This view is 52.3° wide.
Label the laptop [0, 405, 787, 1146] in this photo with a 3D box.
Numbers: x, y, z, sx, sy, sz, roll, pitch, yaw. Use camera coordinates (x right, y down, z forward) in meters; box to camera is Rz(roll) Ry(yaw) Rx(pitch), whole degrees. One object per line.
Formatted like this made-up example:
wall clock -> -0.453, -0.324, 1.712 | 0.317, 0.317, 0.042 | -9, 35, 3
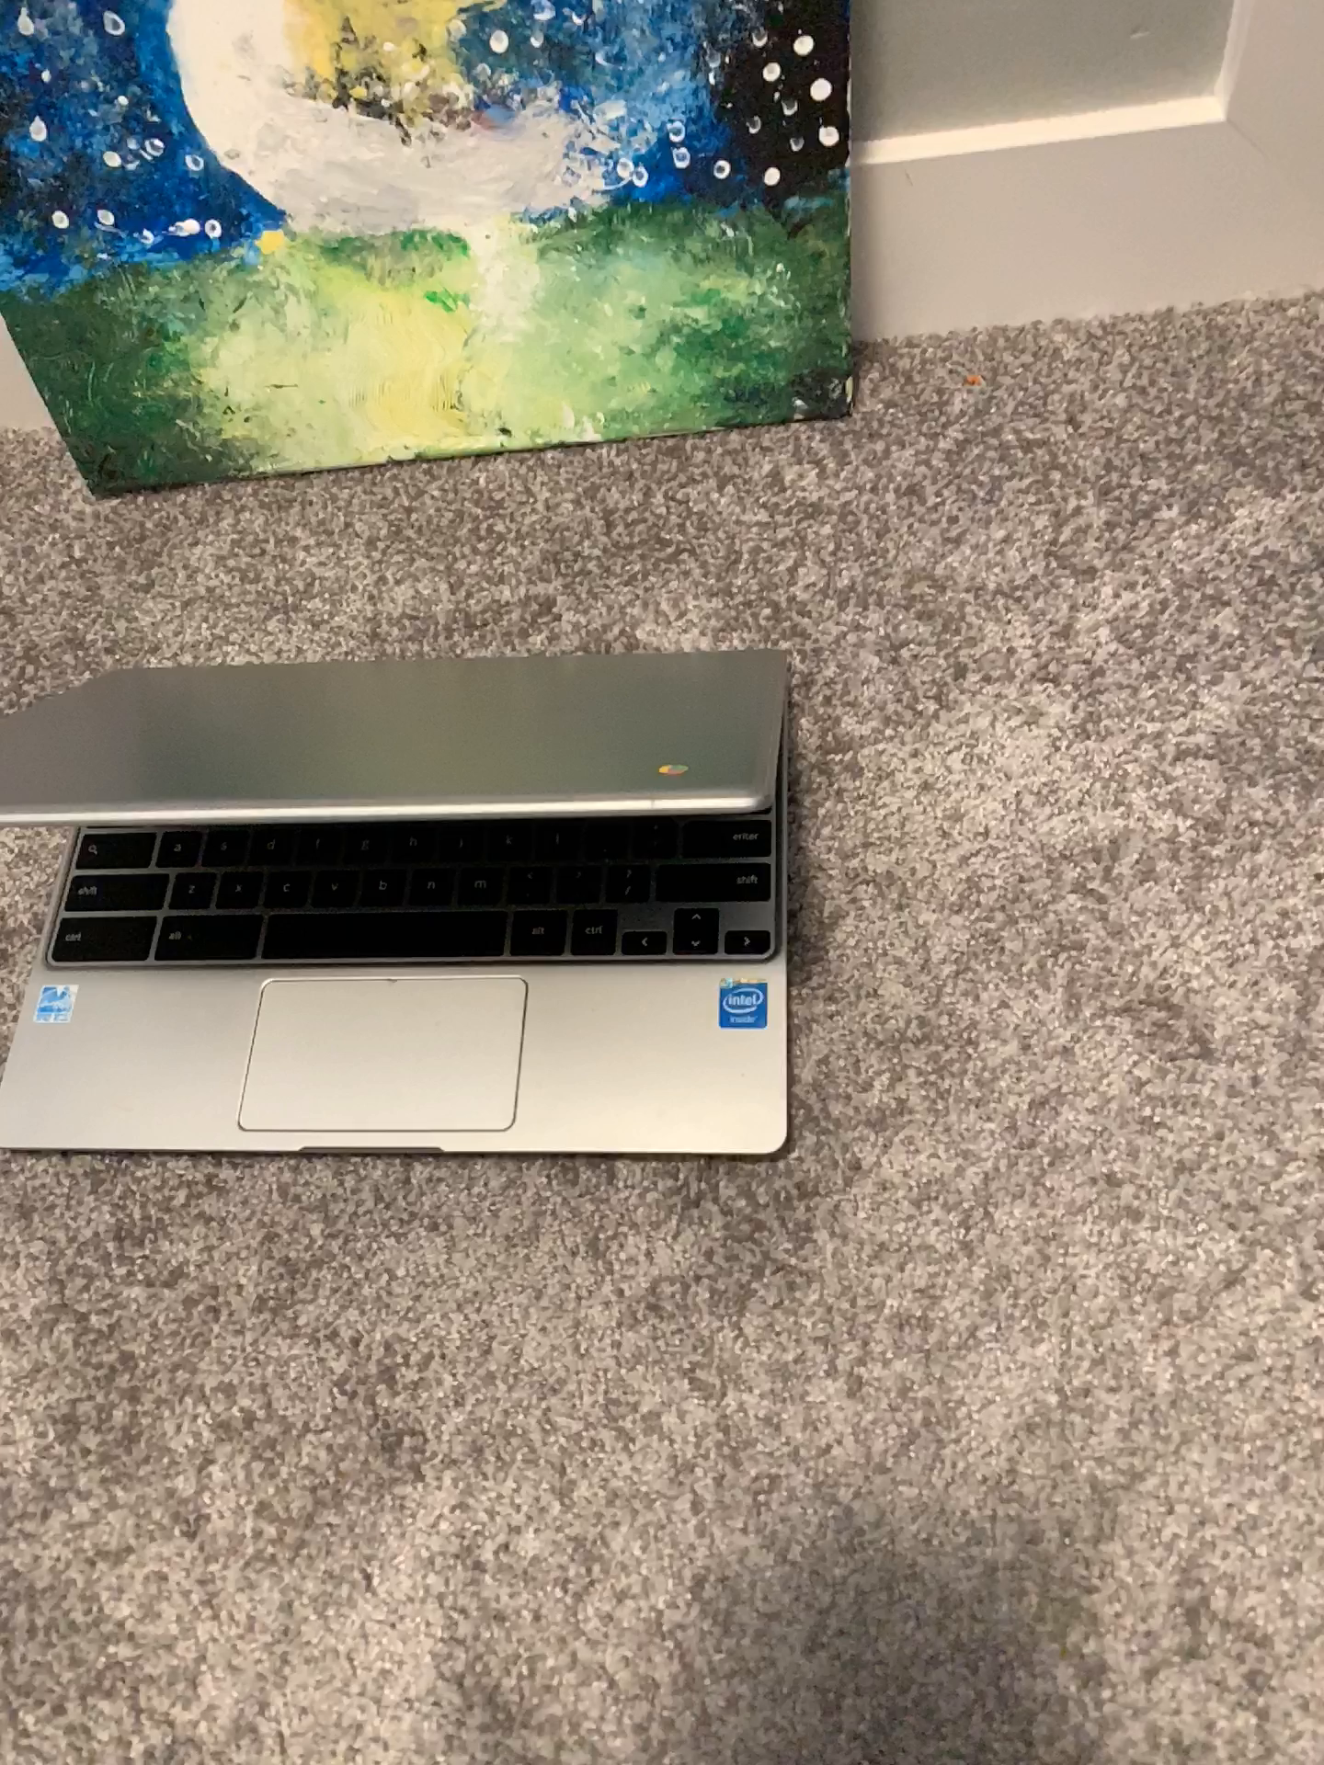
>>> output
laptop -> -0.108, -0.027, 0.464 | 0.294, 0.144, 0.200 | -1, 64, 6
